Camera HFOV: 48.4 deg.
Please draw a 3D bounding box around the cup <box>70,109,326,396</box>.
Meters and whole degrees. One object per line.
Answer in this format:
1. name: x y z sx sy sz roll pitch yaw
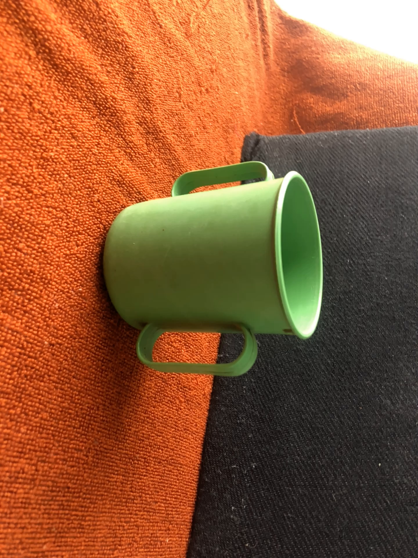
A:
1. cup: 0.004 -0.005 0.217 0.081 0.079 0.100 41 52 -57
